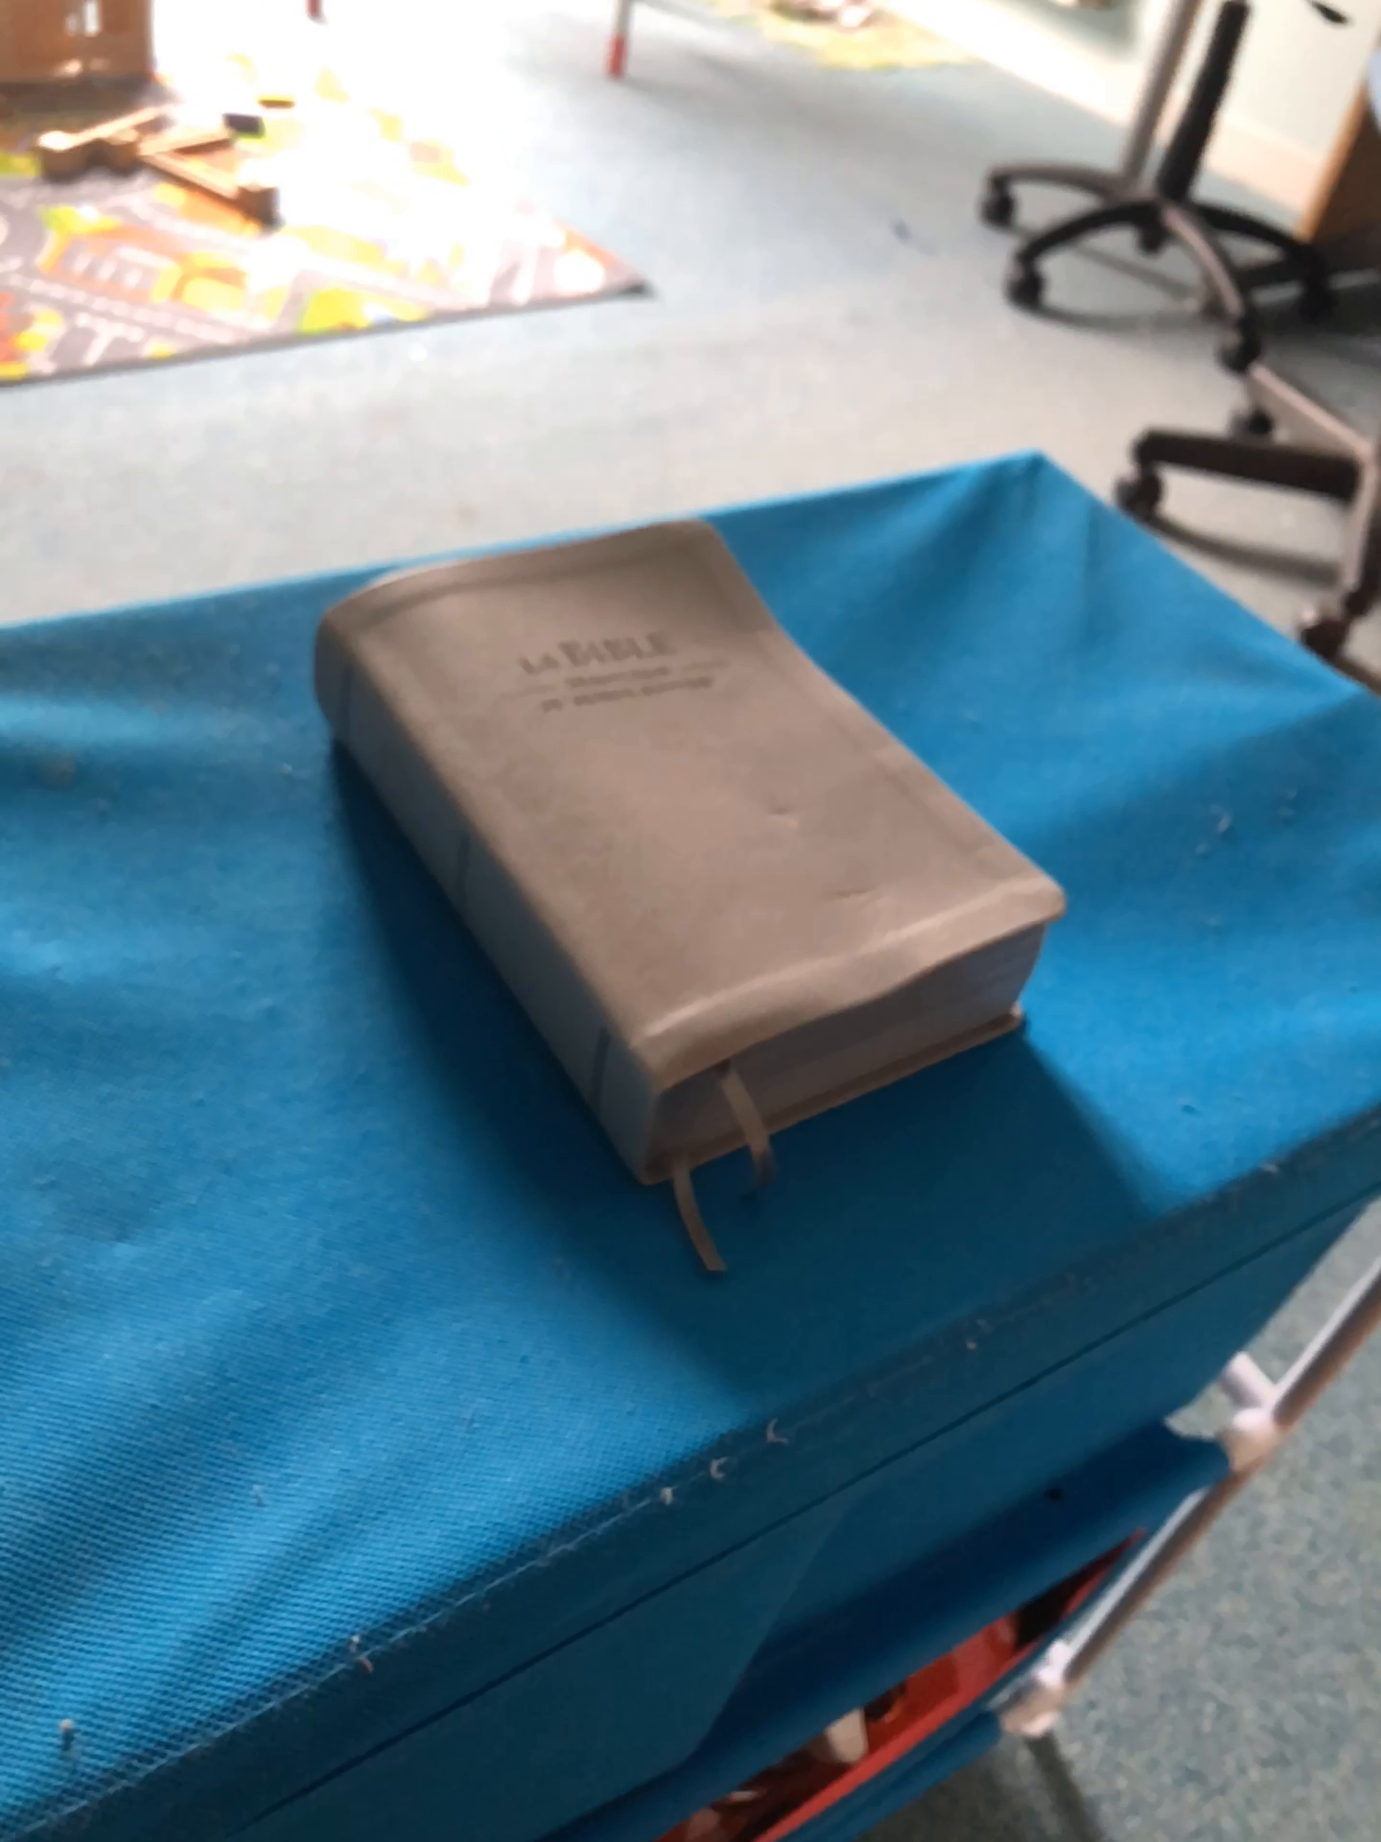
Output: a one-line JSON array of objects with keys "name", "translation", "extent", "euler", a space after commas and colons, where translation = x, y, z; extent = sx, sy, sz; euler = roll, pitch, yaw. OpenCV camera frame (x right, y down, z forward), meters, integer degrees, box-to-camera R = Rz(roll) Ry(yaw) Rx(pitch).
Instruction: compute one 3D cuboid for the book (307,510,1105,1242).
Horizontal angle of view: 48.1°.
[{"name": "book", "translation": [-0.005, -0.025, 0.399], "extent": [0.122, 0.051, 0.180], "euler": [-19, 54, -28]}]
